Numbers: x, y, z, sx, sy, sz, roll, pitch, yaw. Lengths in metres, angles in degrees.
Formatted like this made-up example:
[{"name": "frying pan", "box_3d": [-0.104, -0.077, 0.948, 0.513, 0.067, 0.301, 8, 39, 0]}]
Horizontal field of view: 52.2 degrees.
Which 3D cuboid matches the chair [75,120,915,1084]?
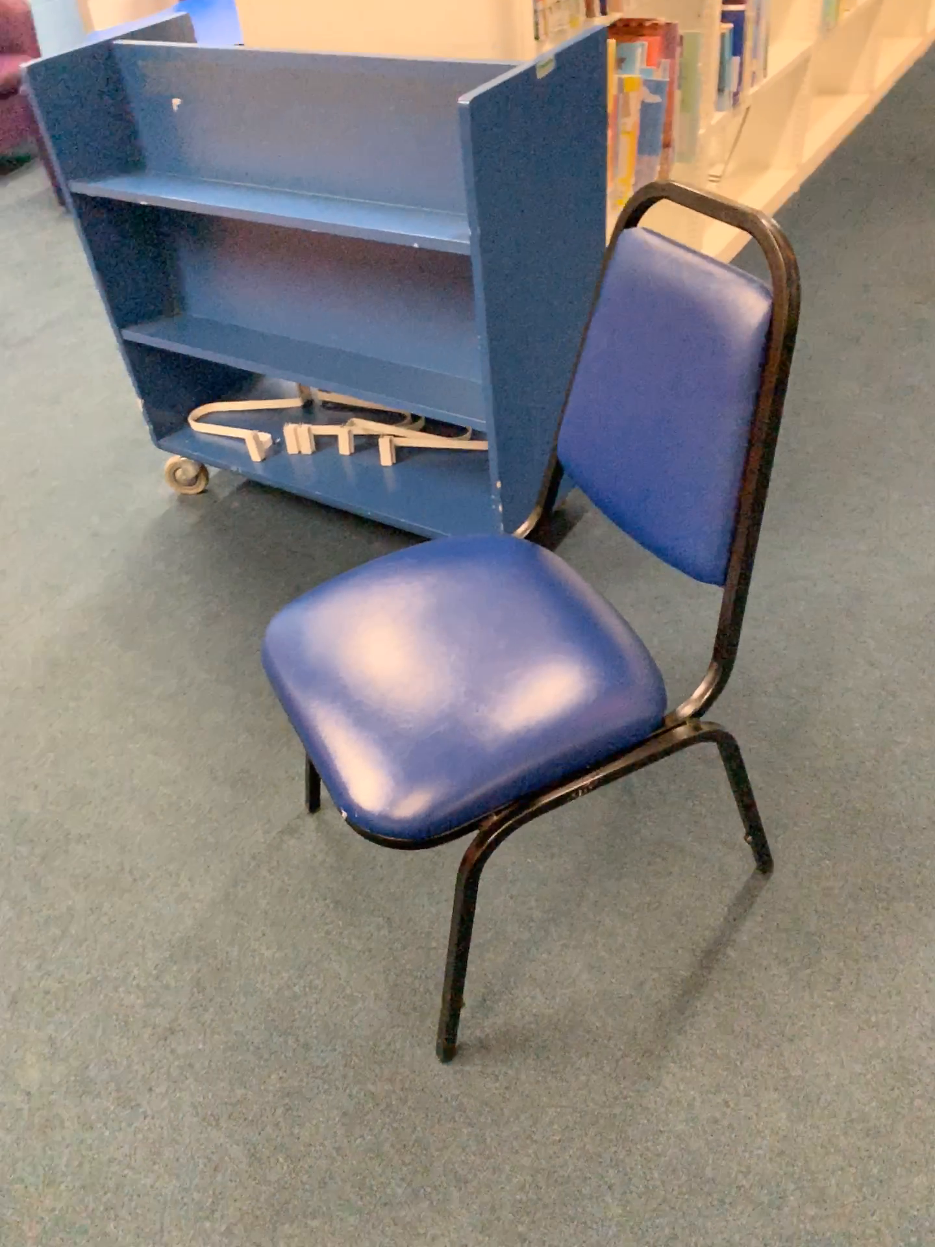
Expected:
[{"name": "chair", "box_3d": [0.019, -0.021, 1.178, 0.581, 0.882, 0.564, -23, 44, -17]}]
